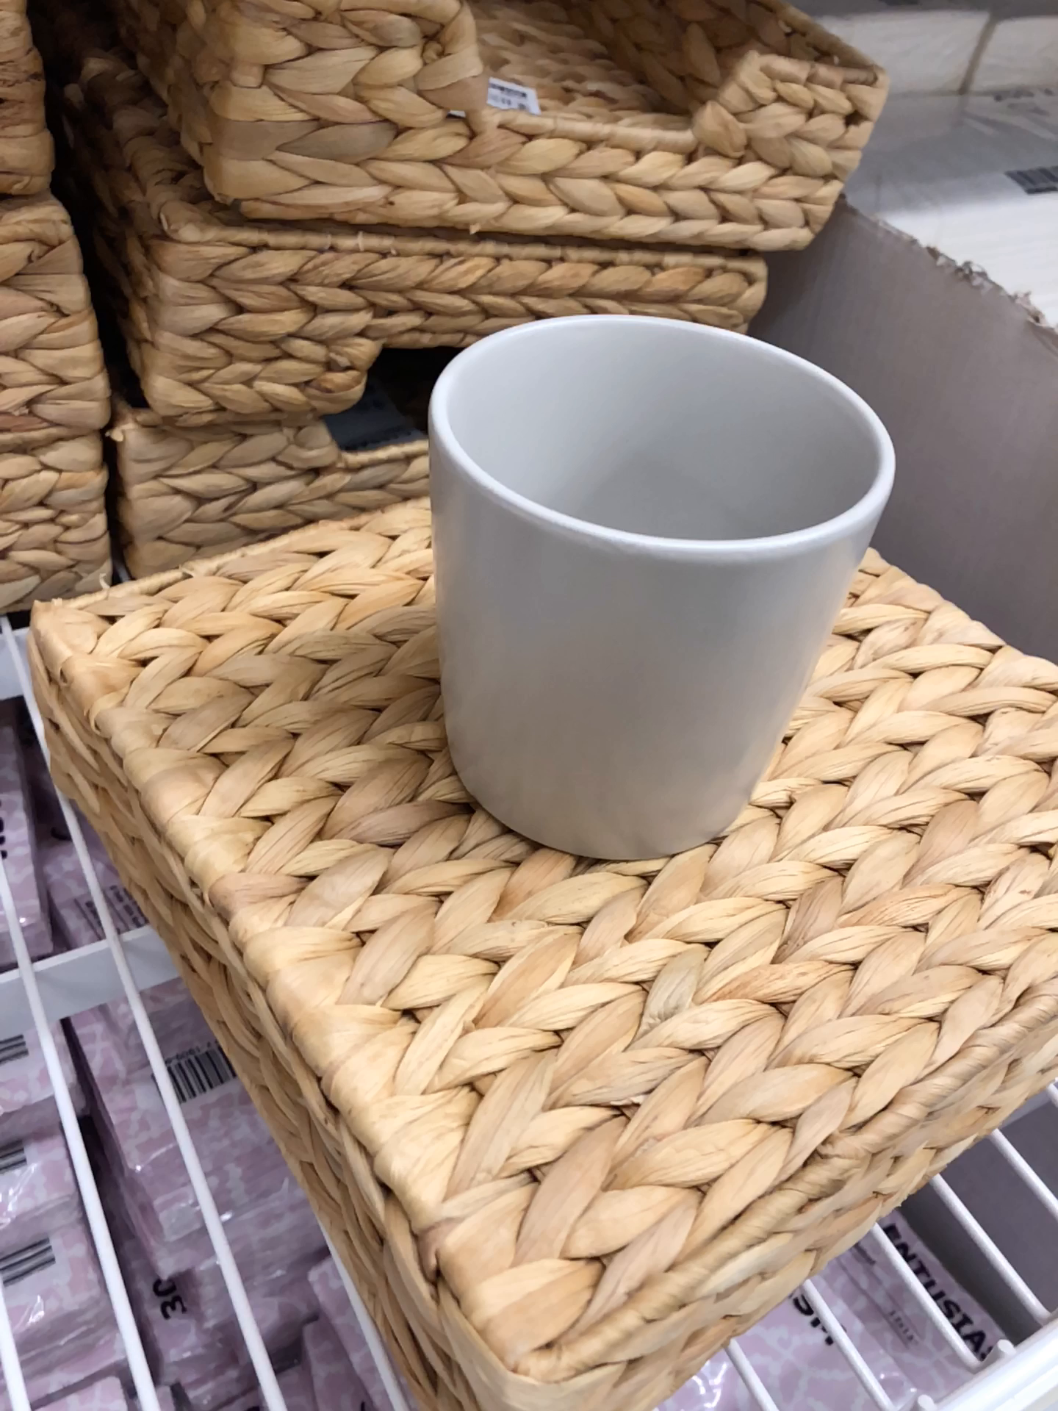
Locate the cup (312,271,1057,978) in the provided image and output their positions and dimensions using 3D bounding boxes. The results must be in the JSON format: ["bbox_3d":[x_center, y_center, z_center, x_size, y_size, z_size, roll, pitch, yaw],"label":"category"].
[{"bbox_3d":[0.030,-0.026,0.262,0.120,0.090,0.090,-24,49,-30],"label":"cup"}]
